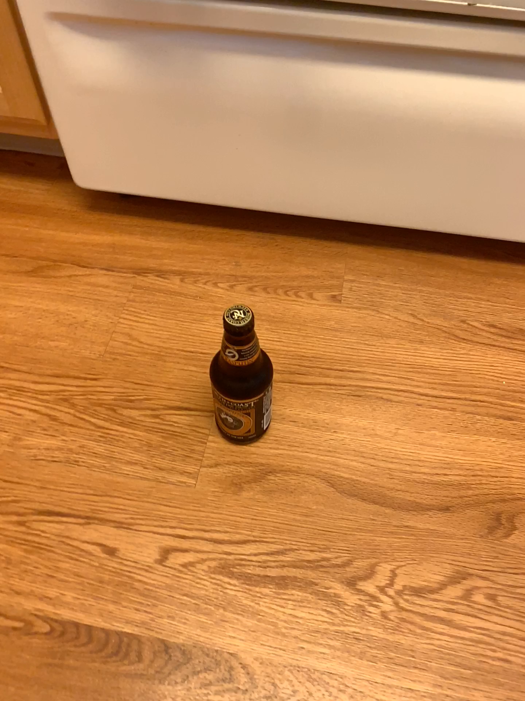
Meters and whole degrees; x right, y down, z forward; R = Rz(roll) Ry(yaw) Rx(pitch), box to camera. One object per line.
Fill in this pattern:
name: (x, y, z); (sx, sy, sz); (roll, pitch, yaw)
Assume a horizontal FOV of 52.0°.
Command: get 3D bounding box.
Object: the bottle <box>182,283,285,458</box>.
bottle: (-0.026, 0.029, 0.536); (0.070, 0.189, 0.060); (19, 56, 12)
